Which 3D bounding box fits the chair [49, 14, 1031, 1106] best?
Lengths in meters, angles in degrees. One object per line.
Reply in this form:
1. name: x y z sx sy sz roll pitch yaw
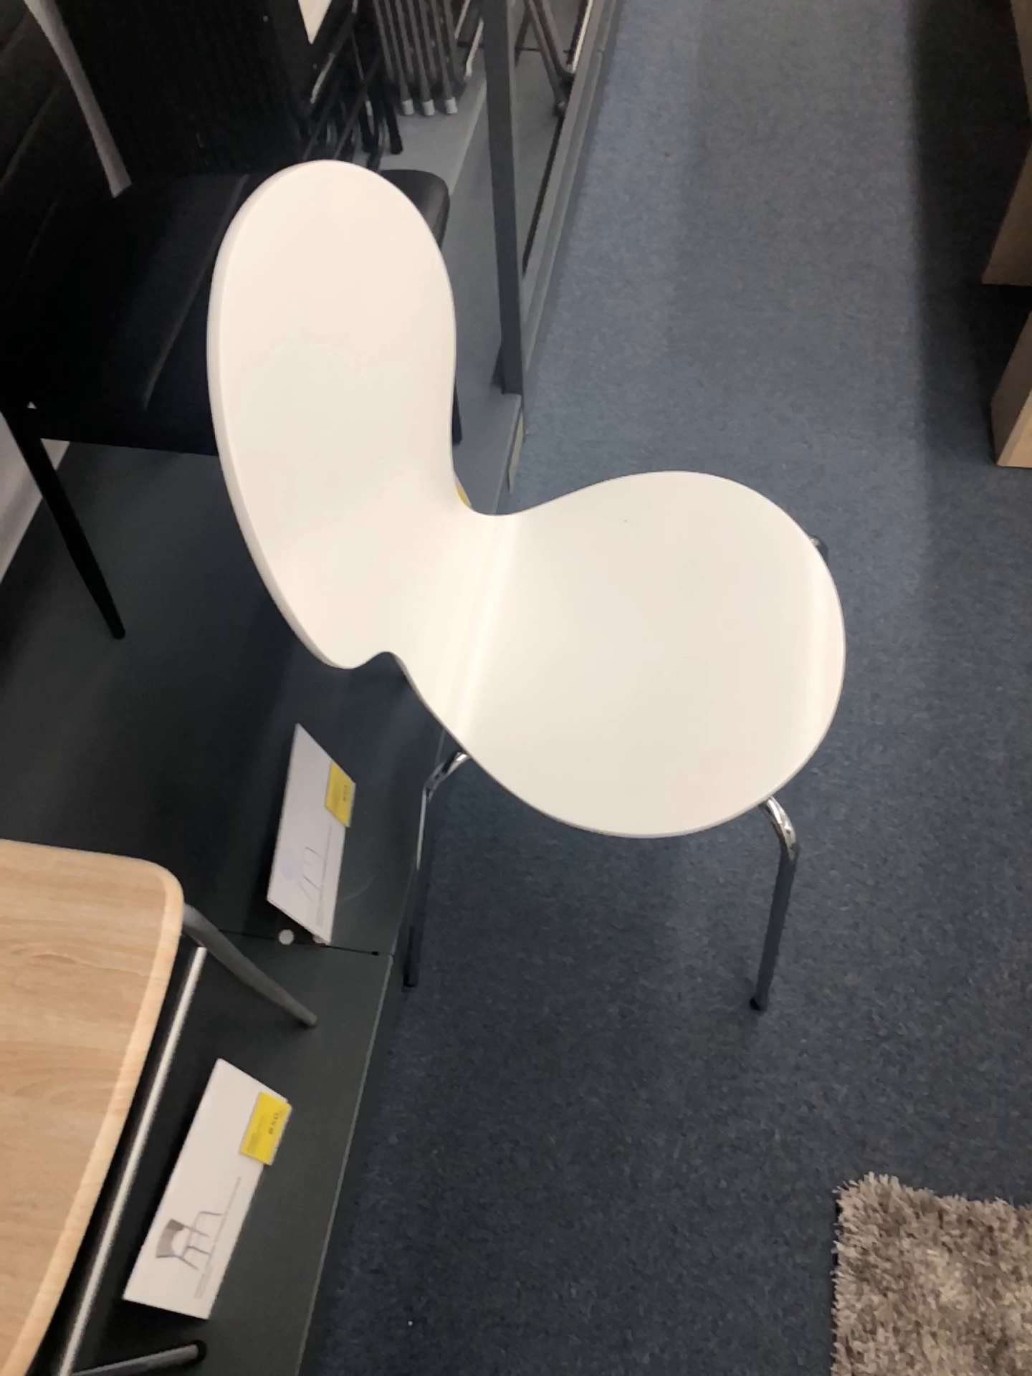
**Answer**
1. chair: 0.082 -0.030 1.117 0.540 0.898 0.561 11 60 9
